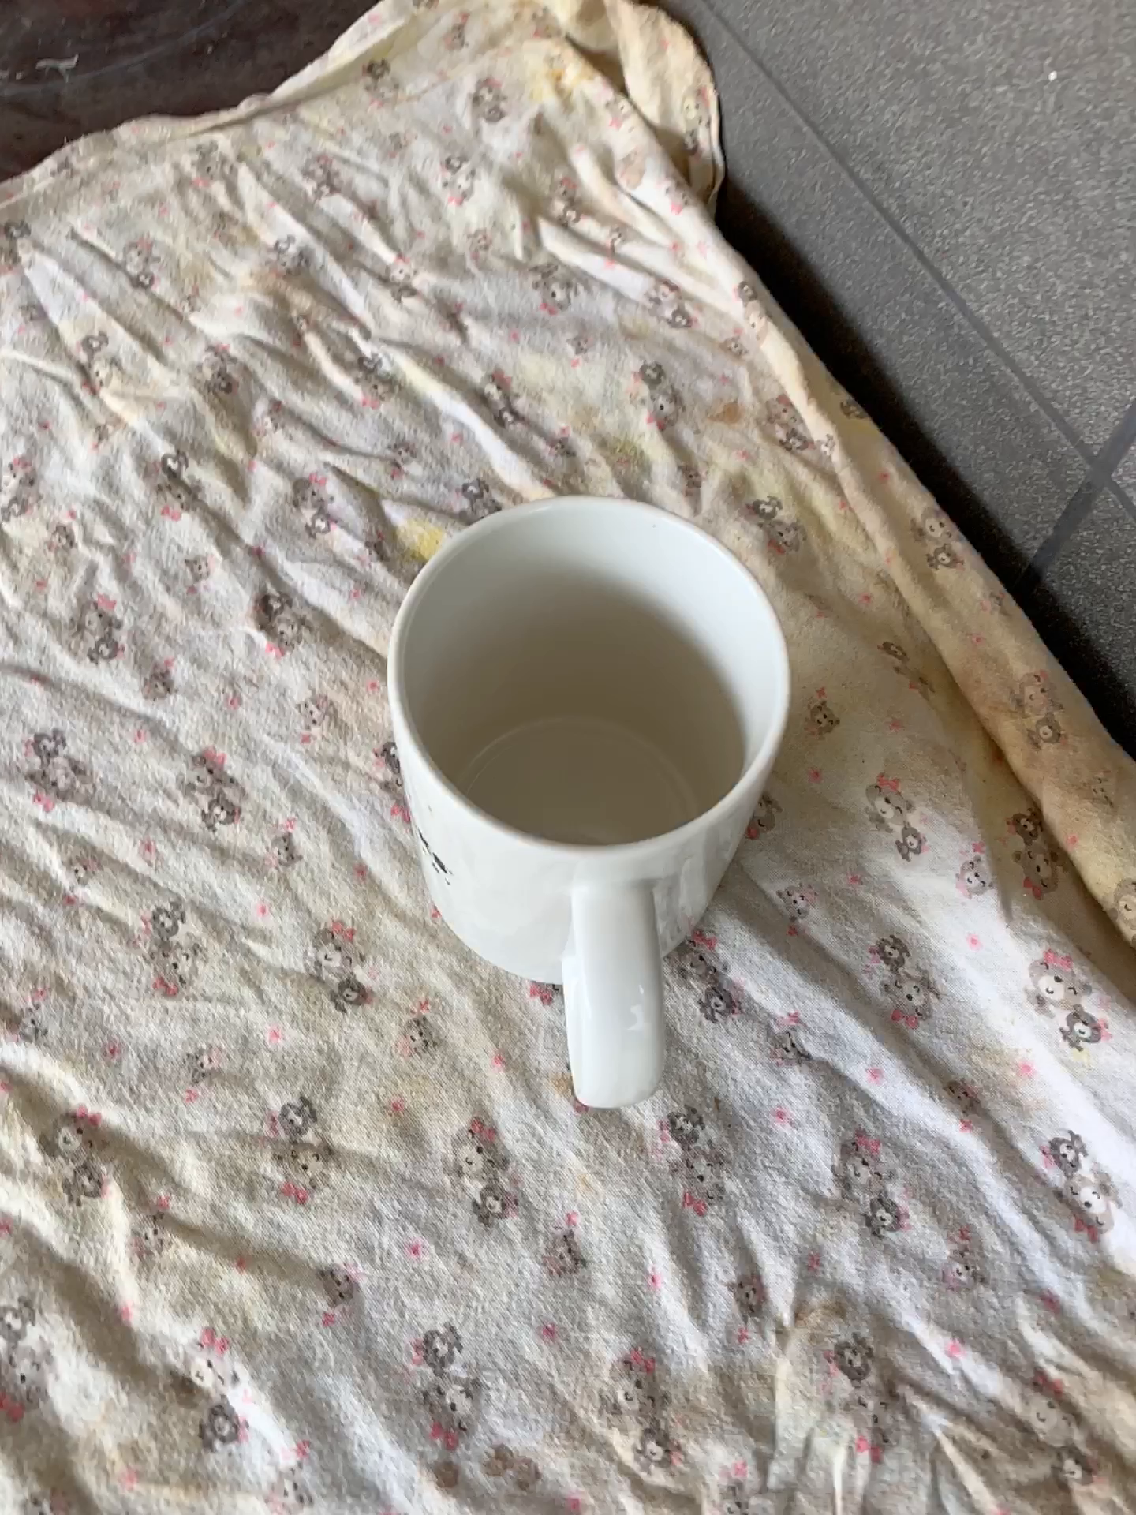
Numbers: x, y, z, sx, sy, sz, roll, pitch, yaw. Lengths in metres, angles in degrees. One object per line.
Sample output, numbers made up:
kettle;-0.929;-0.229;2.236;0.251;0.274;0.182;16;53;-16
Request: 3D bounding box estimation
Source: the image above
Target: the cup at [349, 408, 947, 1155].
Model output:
cup;0.008;0.011;0.277;0.090;0.110;0.130;-9;64;-7
